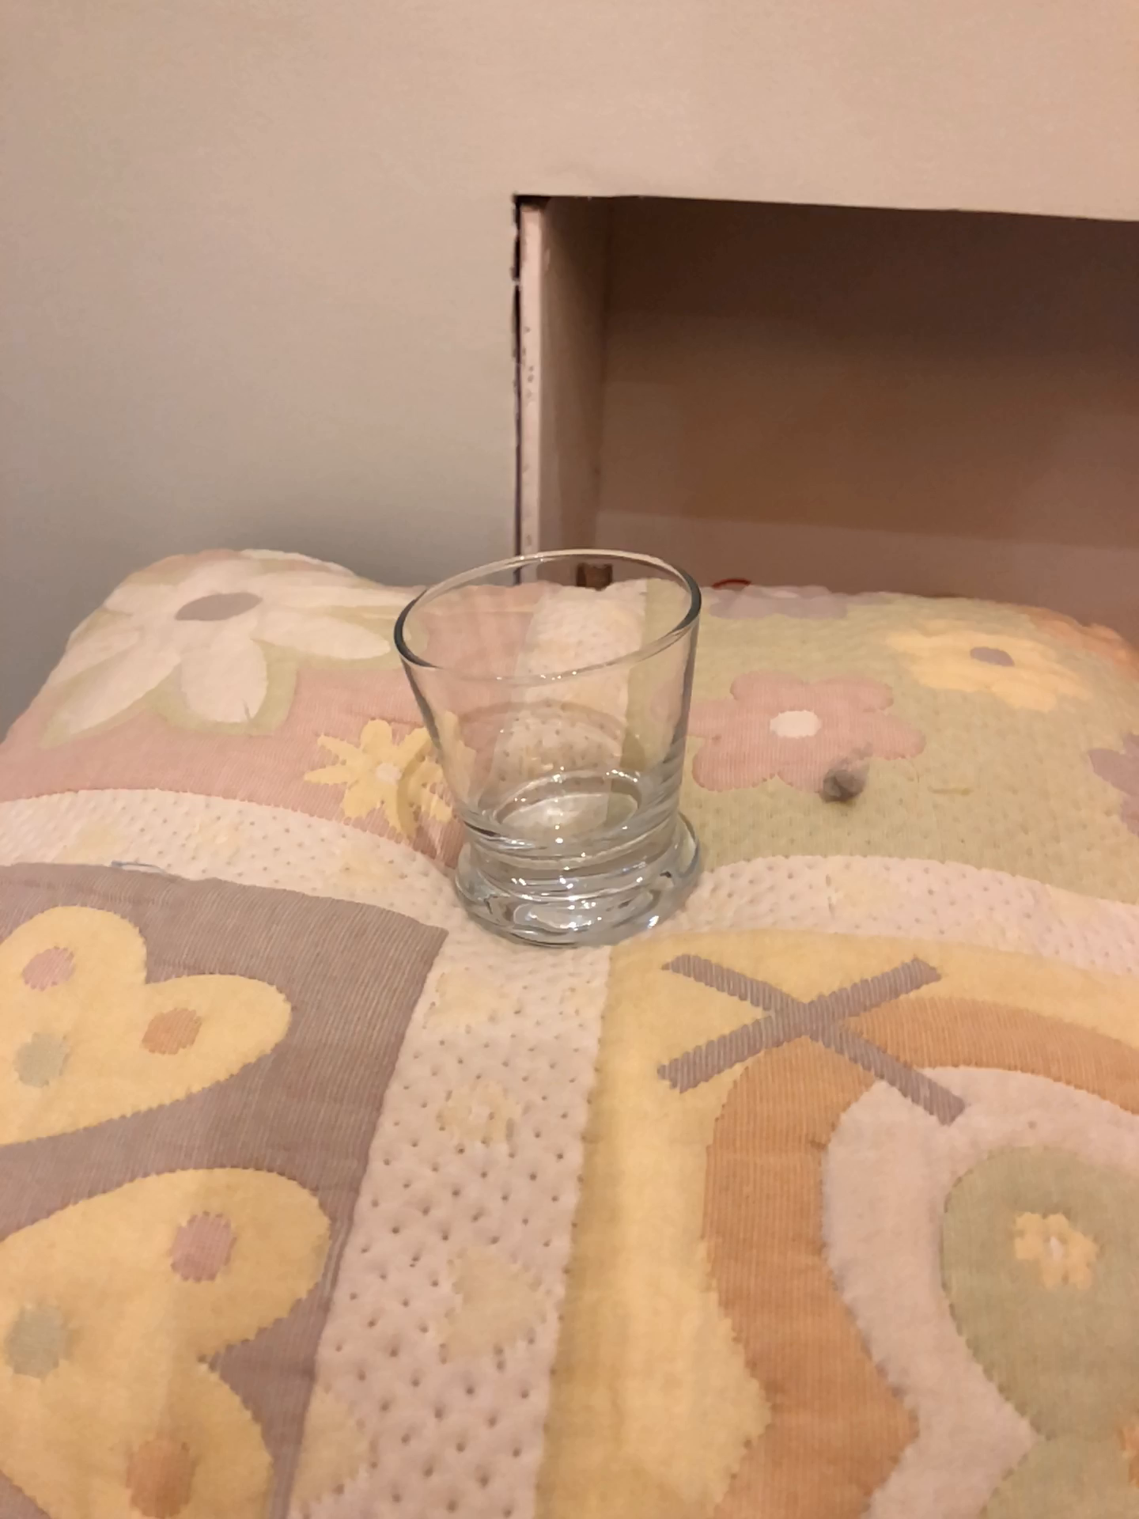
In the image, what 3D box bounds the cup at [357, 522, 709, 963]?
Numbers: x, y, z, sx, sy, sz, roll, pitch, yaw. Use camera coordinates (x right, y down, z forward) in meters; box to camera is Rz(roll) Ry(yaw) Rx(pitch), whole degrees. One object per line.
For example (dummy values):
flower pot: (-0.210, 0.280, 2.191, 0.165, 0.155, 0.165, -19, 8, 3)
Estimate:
cup: (-0.007, -0.007, 0.350, 0.080, 0.089, 0.081, -4, 28, 2)
